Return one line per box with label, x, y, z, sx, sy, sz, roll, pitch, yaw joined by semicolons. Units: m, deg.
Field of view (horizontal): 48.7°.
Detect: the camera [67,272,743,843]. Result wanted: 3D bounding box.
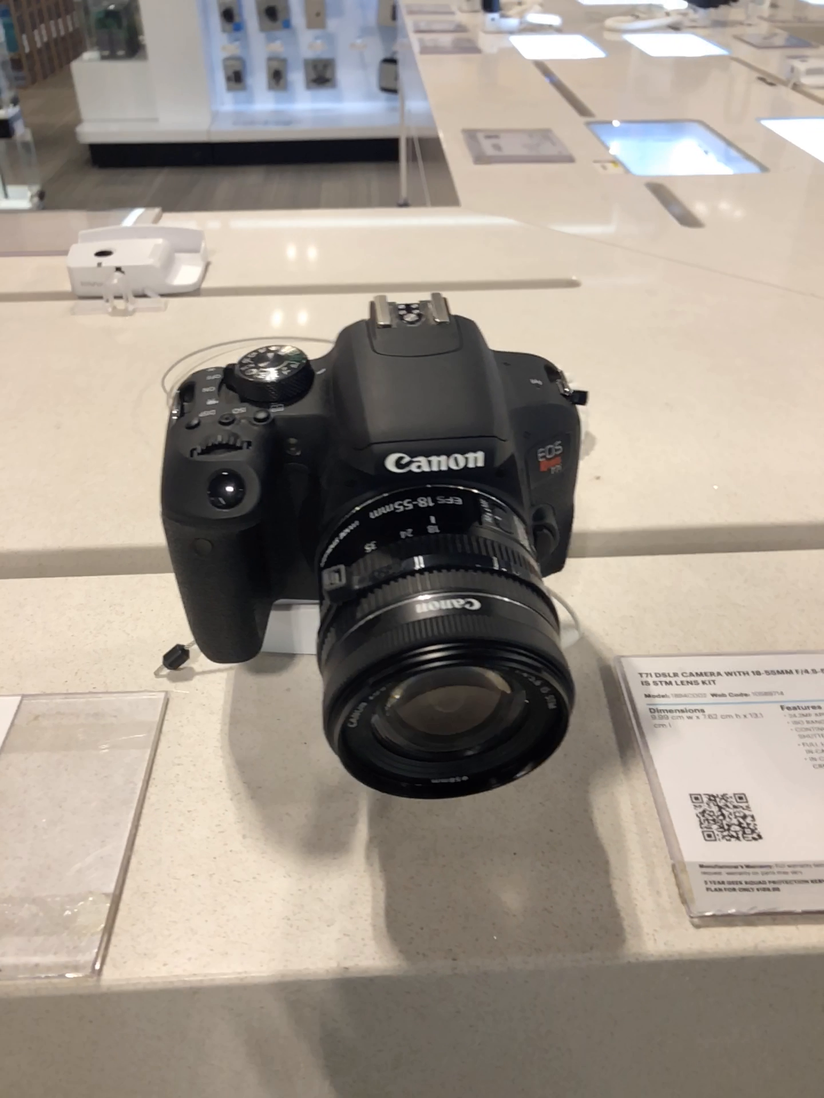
camera;-0.006;-0.007;0.269;0.140;0.099;0.131;-5;37;-5
